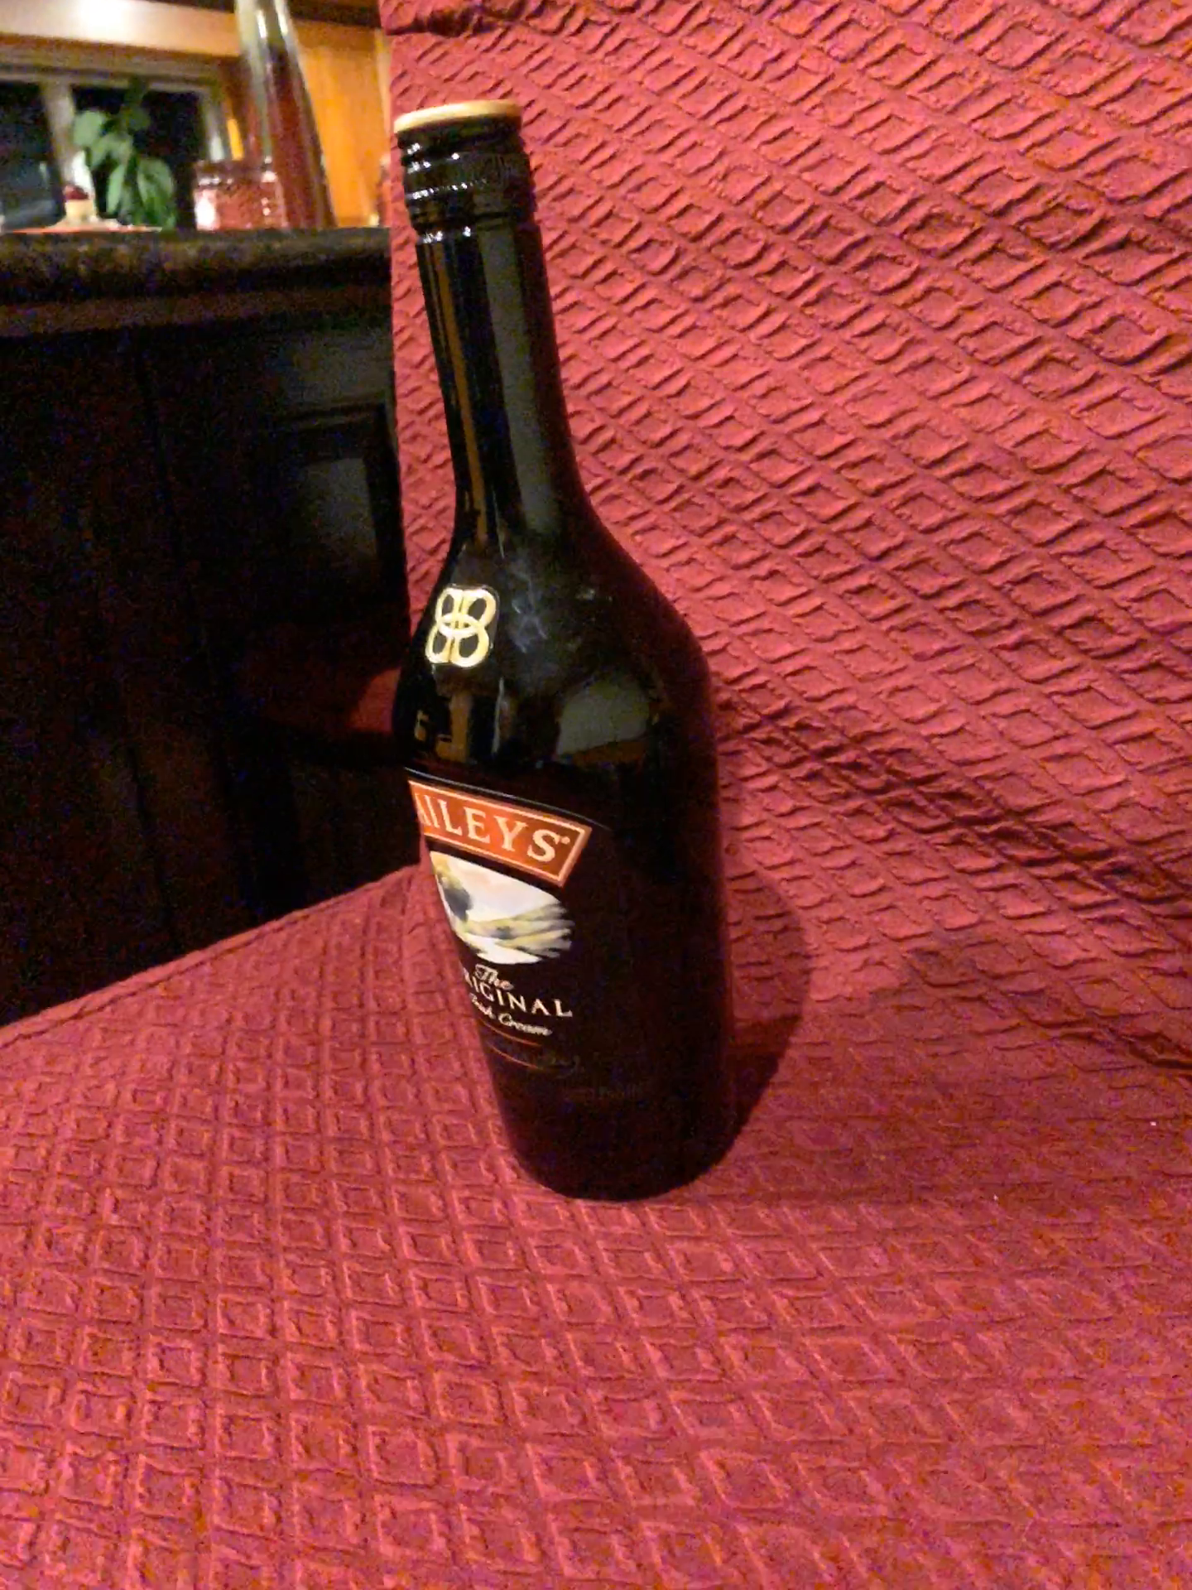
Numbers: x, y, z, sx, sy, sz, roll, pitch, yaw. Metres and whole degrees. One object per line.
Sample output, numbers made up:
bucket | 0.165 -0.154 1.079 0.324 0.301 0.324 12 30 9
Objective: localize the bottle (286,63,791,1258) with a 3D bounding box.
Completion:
bottle | -0.007 -0.026 0.340 0.080 0.289 0.070 12 27 42
